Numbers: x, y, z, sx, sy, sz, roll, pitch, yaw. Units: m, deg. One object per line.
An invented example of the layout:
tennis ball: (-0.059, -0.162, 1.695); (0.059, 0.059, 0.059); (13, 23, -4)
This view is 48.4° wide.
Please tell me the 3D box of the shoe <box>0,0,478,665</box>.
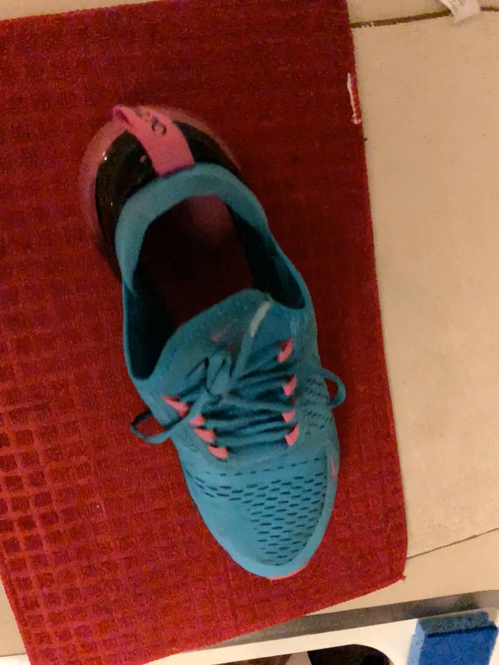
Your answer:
shoe: (-0.005, 0.029, 0.311); (0.150, 0.130, 0.330); (-20, 107, -7)
